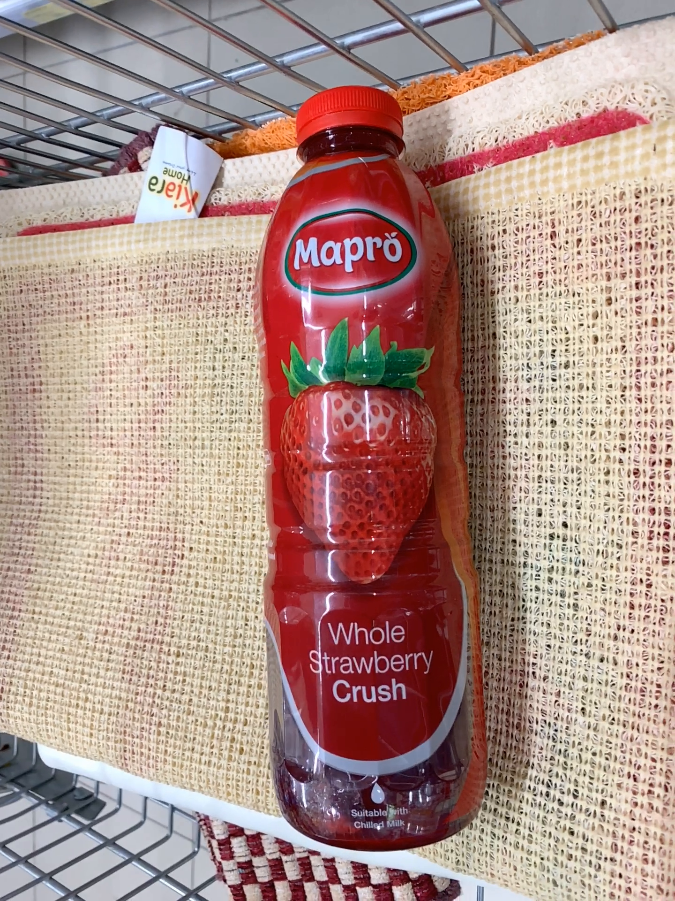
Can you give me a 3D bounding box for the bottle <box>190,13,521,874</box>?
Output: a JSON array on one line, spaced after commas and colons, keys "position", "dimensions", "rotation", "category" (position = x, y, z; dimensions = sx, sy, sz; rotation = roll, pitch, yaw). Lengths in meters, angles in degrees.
[{"position": [0.009, 0.002, 0.242], "dimensions": [0.090, 0.070, 0.250], "rotation": [-2, 93, 6], "category": "bottle"}]
